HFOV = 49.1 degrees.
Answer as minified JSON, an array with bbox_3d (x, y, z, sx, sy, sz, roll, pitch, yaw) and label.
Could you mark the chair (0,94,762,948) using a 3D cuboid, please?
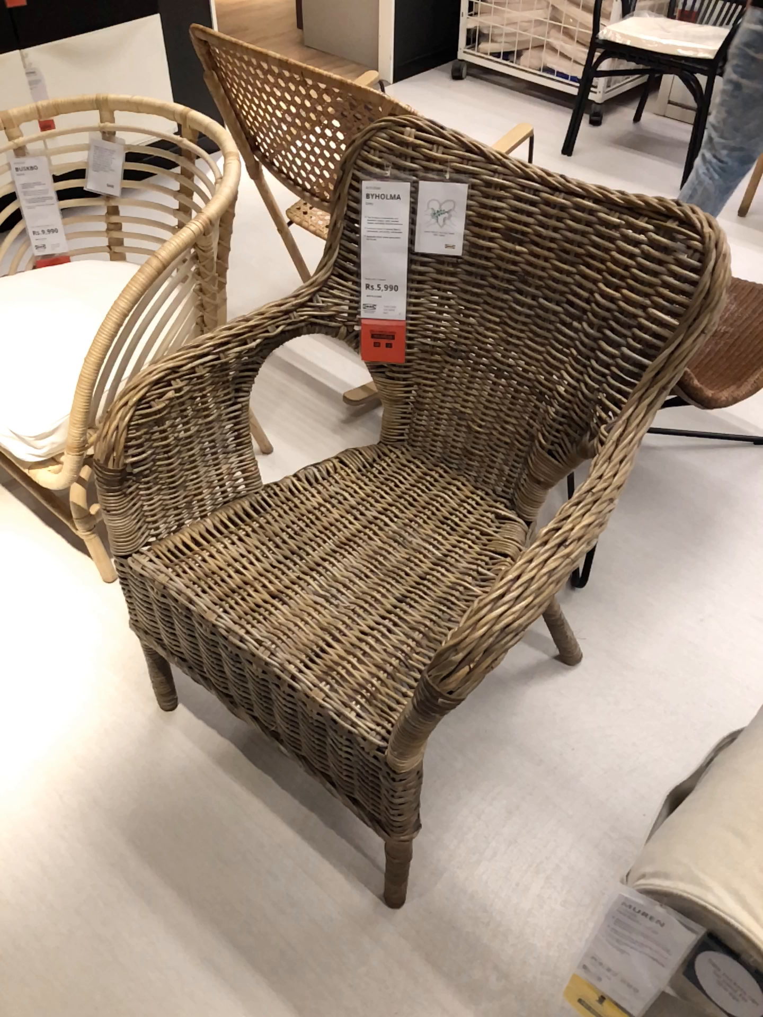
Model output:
[{"bbox_3d":[0.041,0.013,1.303,0.672,0.924,0.683,32,53,27],"label":"chair"}]
